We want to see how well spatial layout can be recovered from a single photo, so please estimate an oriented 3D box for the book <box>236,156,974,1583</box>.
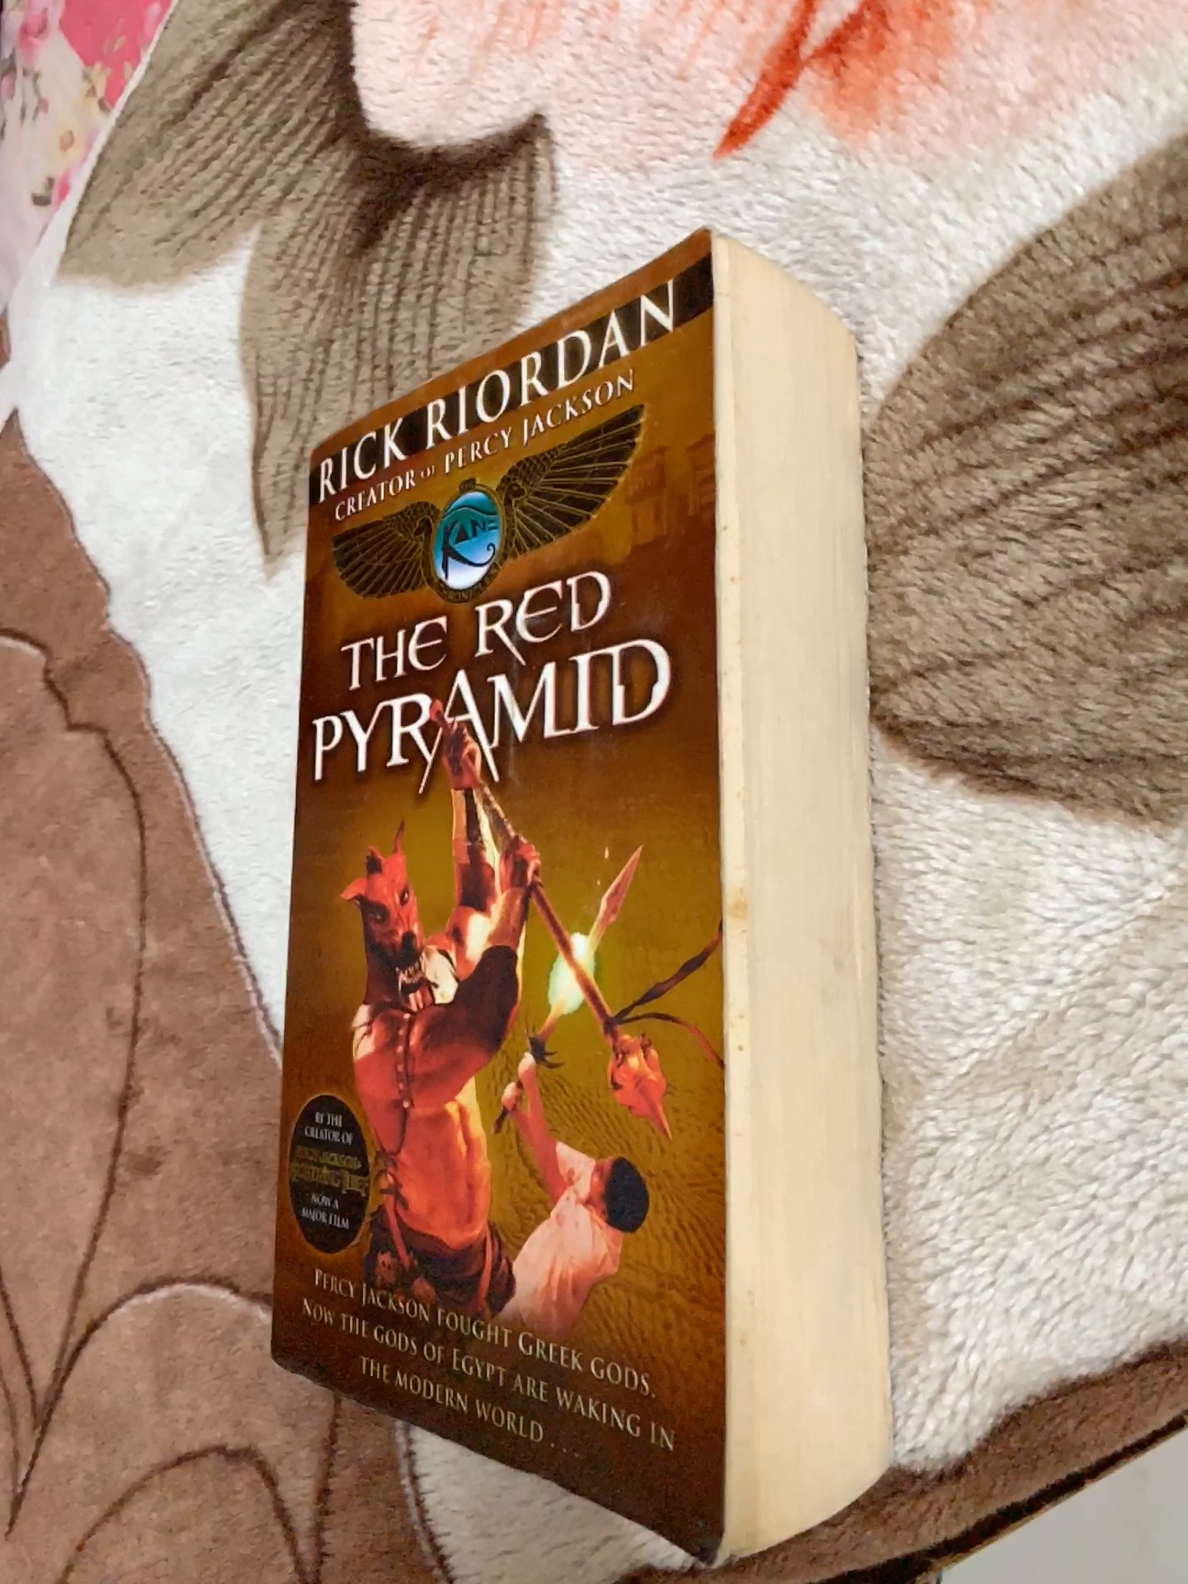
[{"bbox_3d":[-0.006,0.012,0.251,0.151,0.040,0.220,-7,77,42],"label":"book"}]
